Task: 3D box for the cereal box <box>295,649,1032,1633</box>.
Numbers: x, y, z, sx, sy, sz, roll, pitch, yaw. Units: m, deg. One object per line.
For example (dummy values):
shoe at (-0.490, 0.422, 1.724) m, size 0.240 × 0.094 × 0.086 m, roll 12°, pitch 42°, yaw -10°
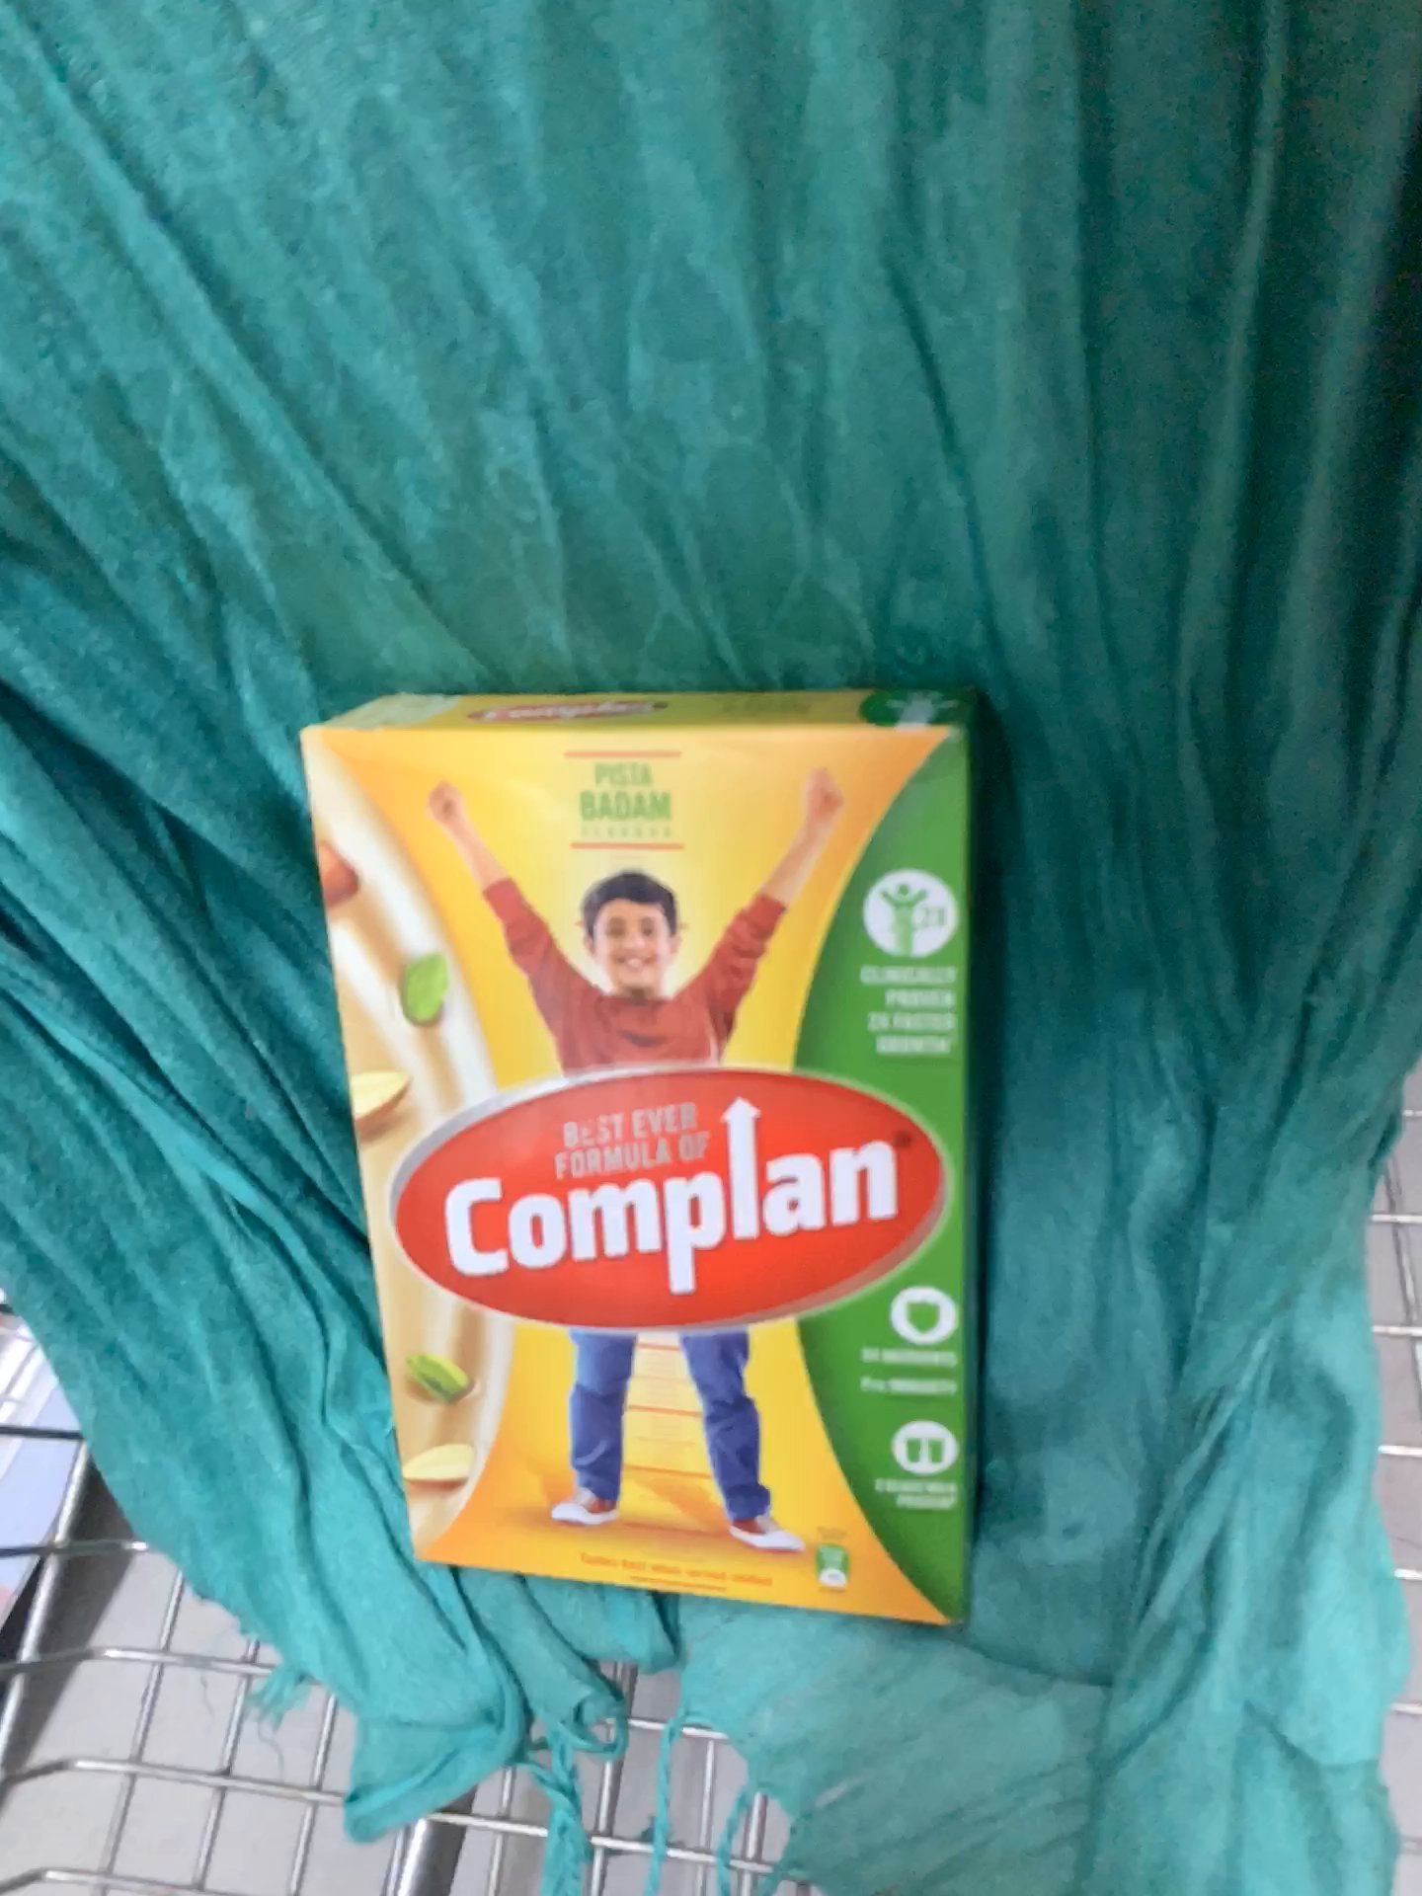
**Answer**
cereal box at (-0.001, 0.041, 0.323) m, size 0.140 × 0.060 × 0.200 m, roll 0°, pitch 107°, yaw 13°
